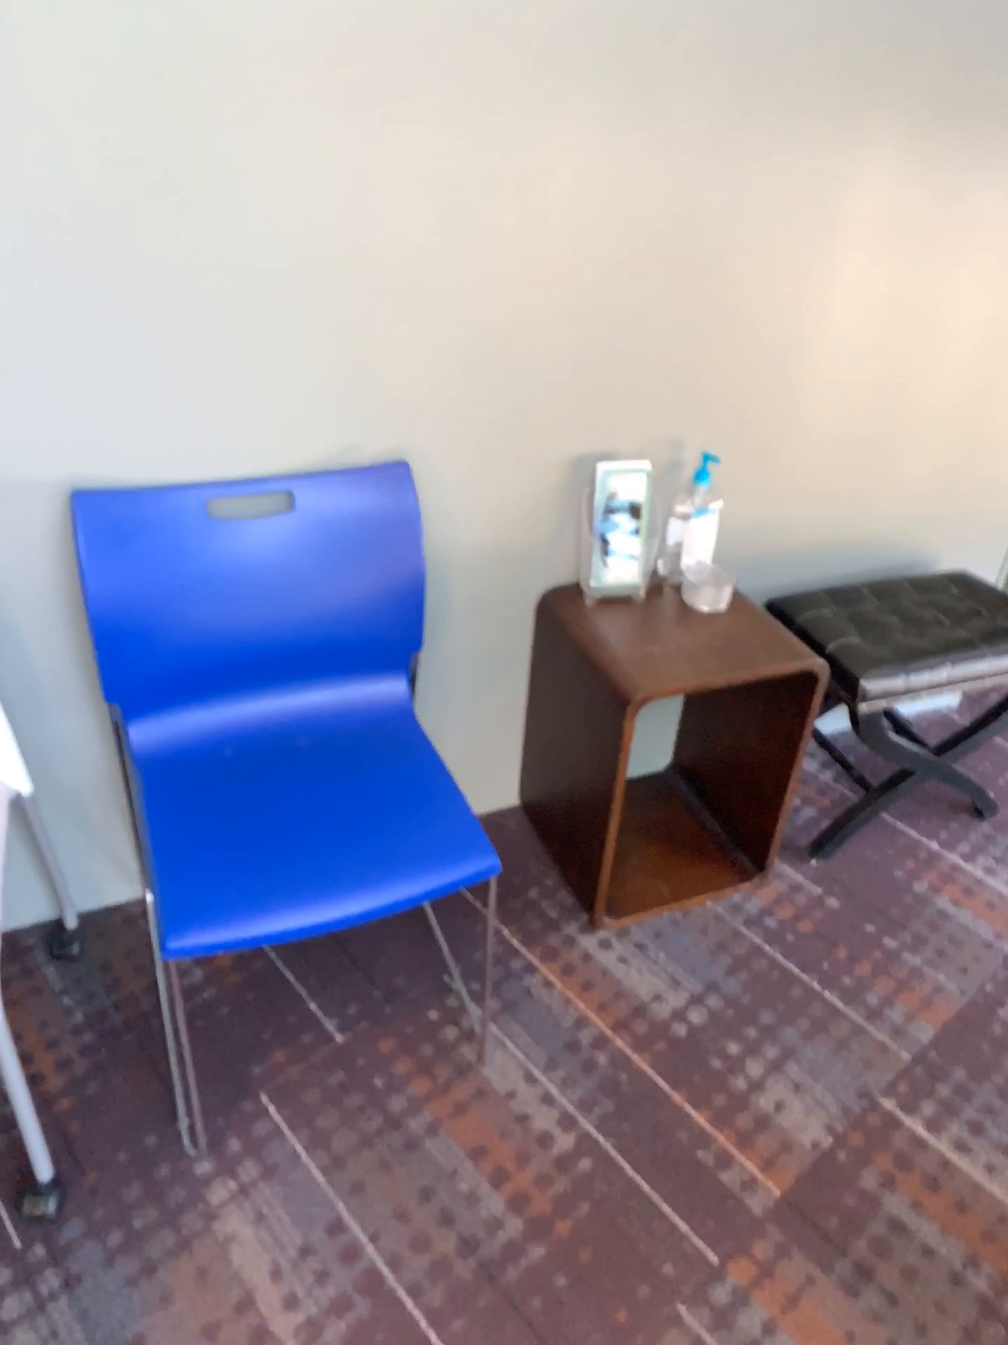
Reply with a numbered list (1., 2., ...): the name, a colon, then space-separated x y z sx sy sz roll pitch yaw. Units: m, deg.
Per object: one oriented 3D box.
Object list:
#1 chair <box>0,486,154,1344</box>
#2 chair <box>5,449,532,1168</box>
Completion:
1. chair: -0.833 0.264 1.278 0.590 0.796 0.563 -11 35 -31
2. chair: -0.365 0.154 1.581 0.590 0.796 0.623 -10 30 -20
